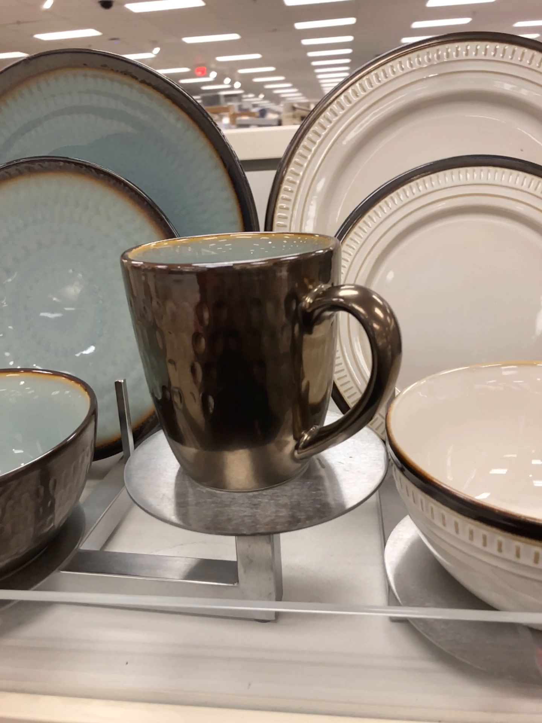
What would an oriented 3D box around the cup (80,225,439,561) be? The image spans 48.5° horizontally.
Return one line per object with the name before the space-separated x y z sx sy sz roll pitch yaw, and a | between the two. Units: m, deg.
cup | -0.002 0.000 0.257 0.117 0.100 0.083 11 25 34
